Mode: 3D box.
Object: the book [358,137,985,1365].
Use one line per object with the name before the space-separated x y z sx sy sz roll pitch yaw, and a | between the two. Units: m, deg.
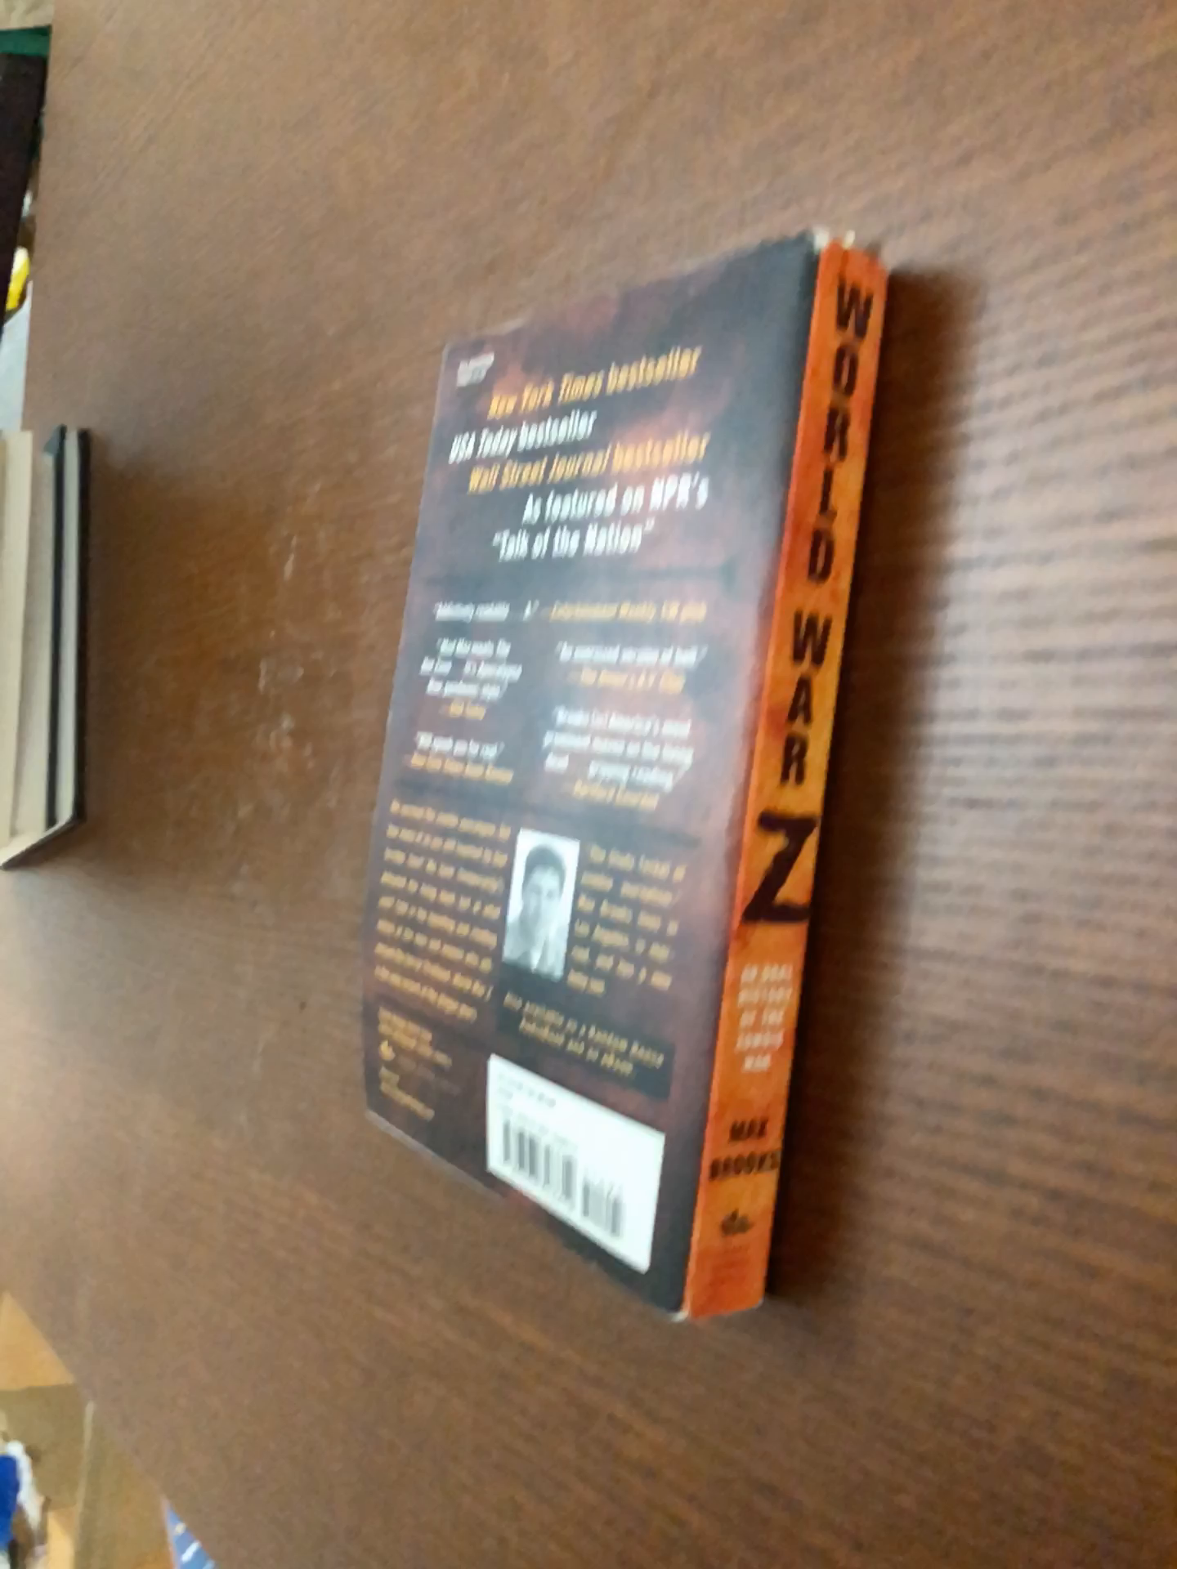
book | 0.006 -0.011 0.296 0.141 0.030 0.220 12 95 53
